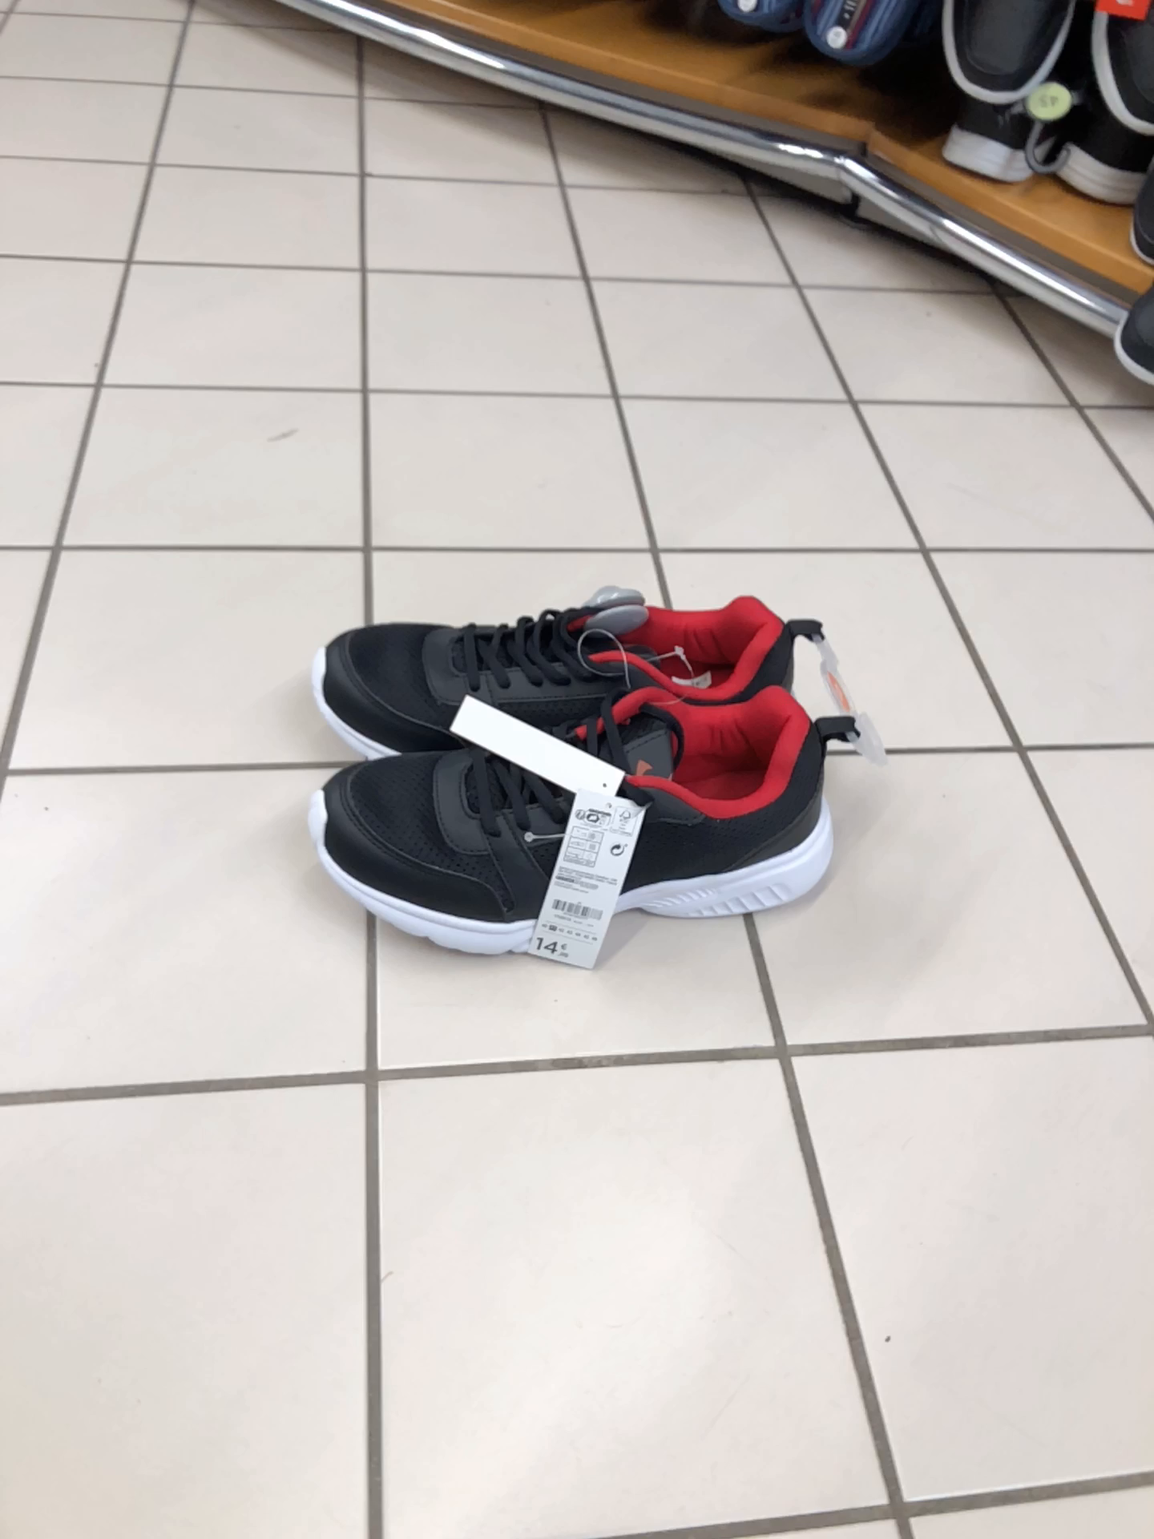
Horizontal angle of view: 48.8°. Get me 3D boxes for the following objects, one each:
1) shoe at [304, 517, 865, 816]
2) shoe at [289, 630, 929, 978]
[{"bbox_3d":[-0.003,-0.058,0.720,0.285,0.129,0.101,-1,47,-9],"label":"shoe"},{"bbox_3d":[0.008,0.016,0.656,0.295,0.129,0.100,-3,47,-10],"label":"shoe"}]
